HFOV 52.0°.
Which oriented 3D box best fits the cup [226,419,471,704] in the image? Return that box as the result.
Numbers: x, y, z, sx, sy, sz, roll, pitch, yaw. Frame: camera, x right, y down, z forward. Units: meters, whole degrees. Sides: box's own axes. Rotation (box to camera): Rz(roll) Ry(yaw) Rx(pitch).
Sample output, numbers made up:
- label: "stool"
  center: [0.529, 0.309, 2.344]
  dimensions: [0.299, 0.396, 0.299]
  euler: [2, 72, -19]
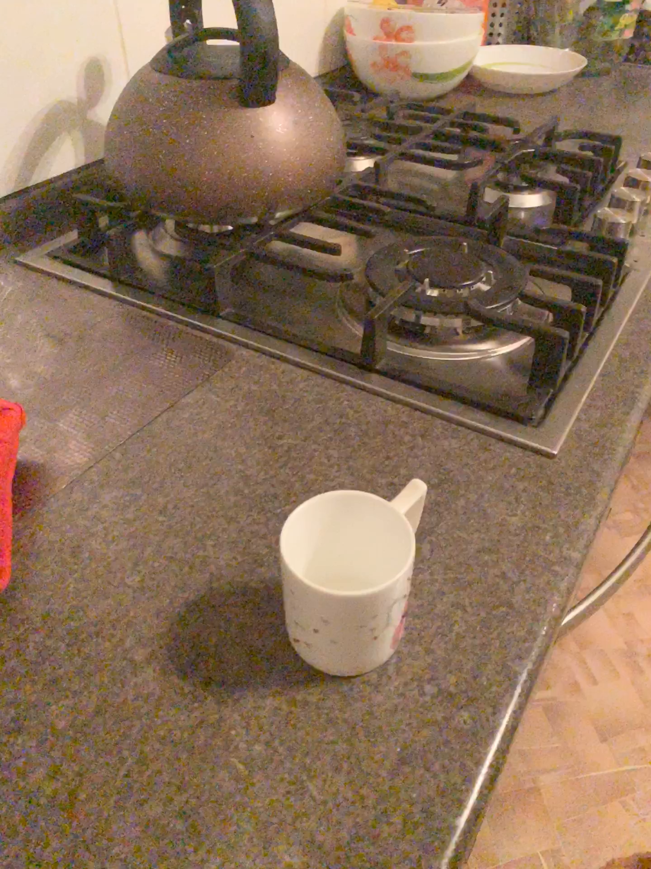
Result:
- label: "cup"
  center: [0.012, 0.052, 0.297]
  dimensions: [0.064, 0.061, 0.090]
  euler: [23, 45, 25]

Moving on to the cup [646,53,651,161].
- label: "cup"
  center: [0.402, -0.349, 0.710]
  dimensions: [0.064, 0.081, 0.100]
  euler: [1, 40, 1]
